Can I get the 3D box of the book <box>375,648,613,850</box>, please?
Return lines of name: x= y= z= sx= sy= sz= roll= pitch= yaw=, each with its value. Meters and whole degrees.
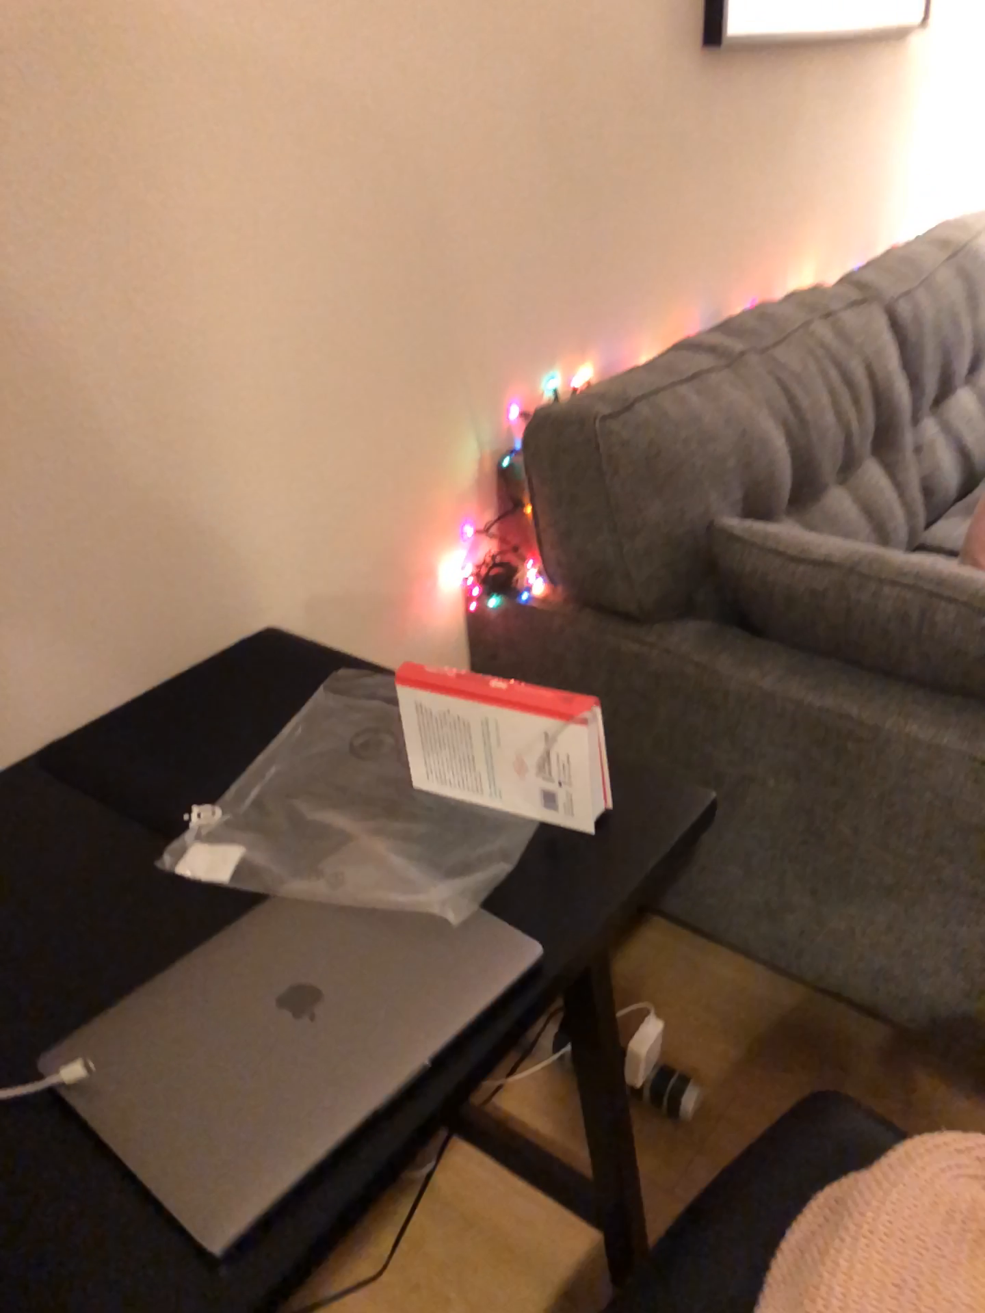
book: x=0.001 y=0.079 z=0.951 sx=0.200 sy=0.129 sz=0.050 roll=11 pitch=31 yaw=23
